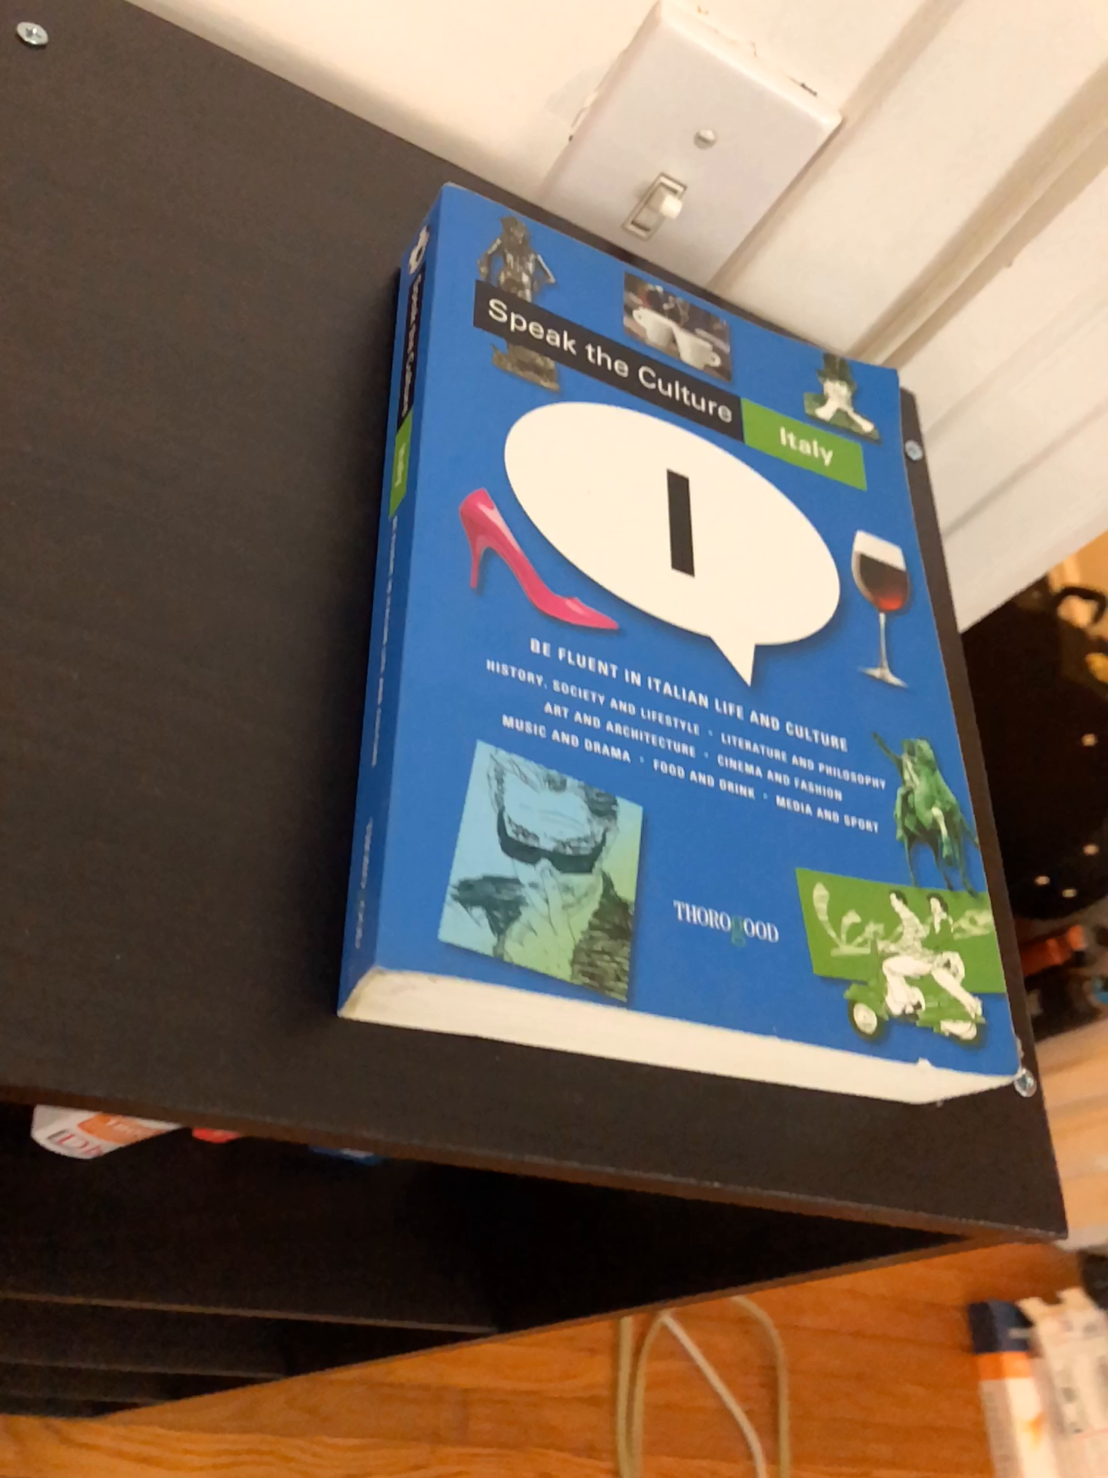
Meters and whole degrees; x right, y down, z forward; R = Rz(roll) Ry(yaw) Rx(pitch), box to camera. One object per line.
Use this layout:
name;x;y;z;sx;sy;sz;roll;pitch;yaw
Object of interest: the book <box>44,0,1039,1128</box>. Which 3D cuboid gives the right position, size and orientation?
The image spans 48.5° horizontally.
book;0.009;-0.051;0.303;0.200;0.030;0.261;15;56;-24
